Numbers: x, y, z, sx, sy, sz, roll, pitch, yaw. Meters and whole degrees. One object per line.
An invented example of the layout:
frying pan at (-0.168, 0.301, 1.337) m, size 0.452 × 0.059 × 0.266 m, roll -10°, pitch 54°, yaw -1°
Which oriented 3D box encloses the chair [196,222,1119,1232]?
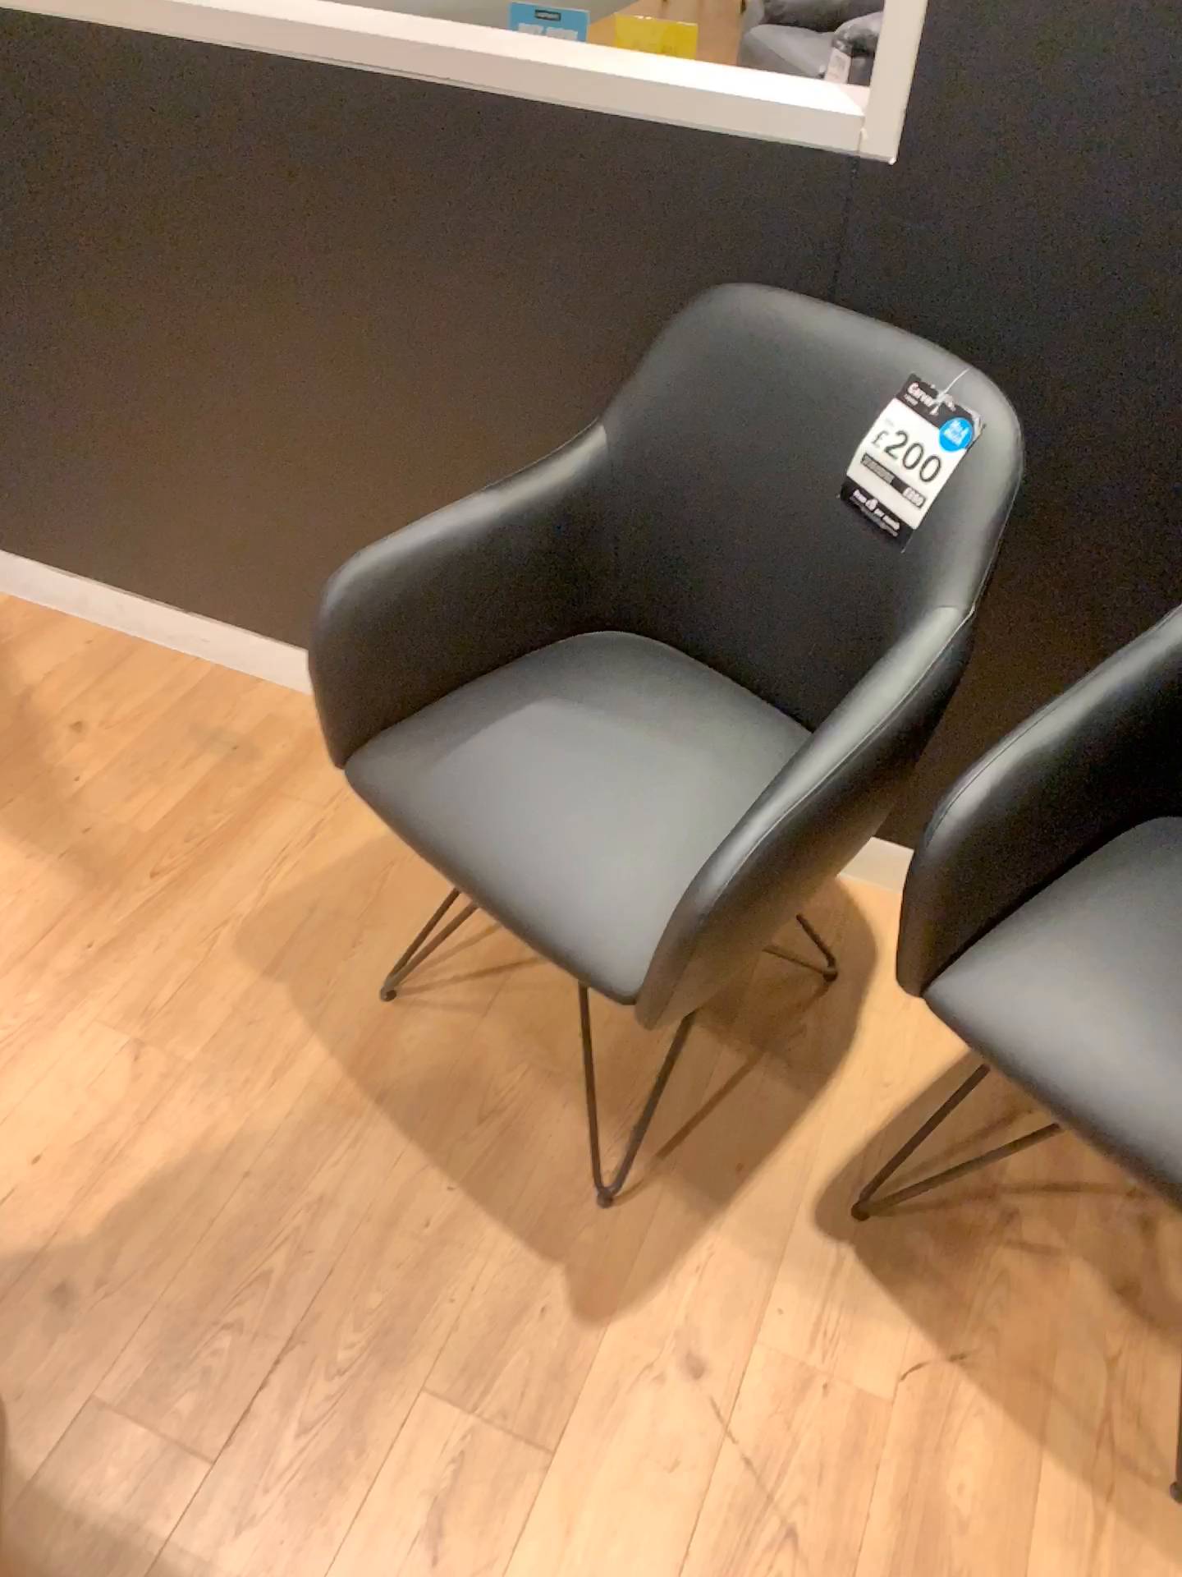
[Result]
chair at (0.049, -0.087, 1.364) m, size 0.594 × 0.777 × 0.606 m, roll -33°, pitch 54°, yaw -32°

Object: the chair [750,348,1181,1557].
chair at (0.610, 0.154, 1.170) m, size 0.565 × 0.836 × 0.594 m, roll 33°, pitch 51°, yaw 28°
